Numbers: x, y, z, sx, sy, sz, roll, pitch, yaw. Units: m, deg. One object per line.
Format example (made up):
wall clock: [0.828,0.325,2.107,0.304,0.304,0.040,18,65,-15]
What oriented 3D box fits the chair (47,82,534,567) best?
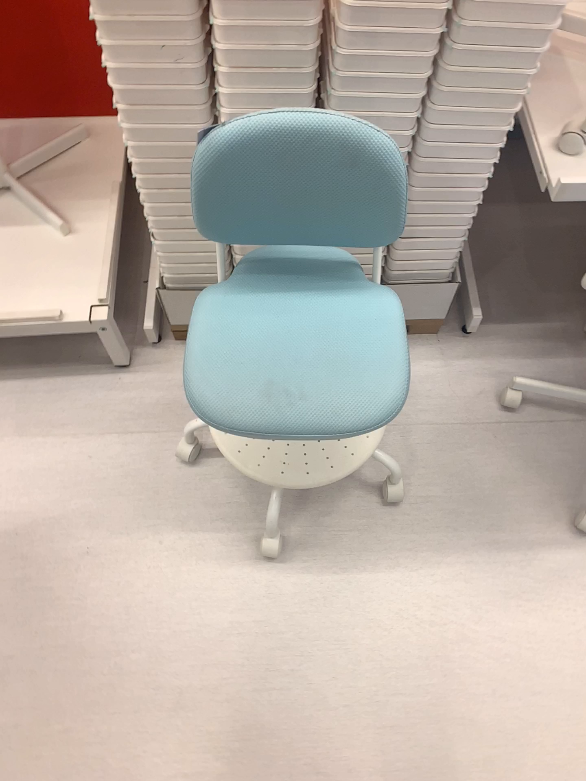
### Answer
chair: [-0.010,-0.057,1.171,0.570,0.749,0.611,-2,61,-1]
